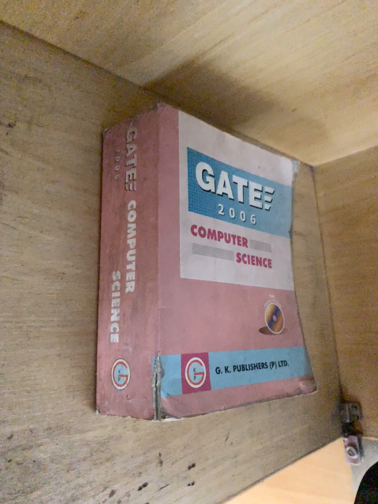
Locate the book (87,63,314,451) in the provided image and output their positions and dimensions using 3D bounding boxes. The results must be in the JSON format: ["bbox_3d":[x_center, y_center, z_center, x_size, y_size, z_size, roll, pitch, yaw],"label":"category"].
[{"bbox_3d":[0.018,0.008,0.360,0.191,0.079,0.270,11,72,-43],"label":"book"}]
